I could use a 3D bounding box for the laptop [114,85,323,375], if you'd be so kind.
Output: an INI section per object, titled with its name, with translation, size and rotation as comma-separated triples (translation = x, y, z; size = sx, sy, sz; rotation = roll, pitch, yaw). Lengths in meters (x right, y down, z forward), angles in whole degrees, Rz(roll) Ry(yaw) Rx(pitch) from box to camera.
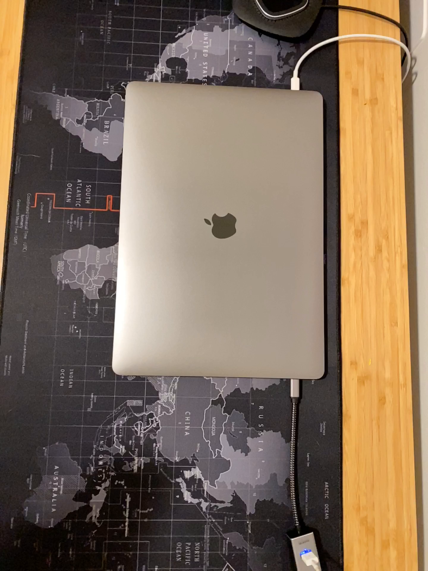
[laptop]
translation = 0.011, -0.070, 0.501
size = 0.226, 0.002, 0.336
rotation = 2, 82, -2
